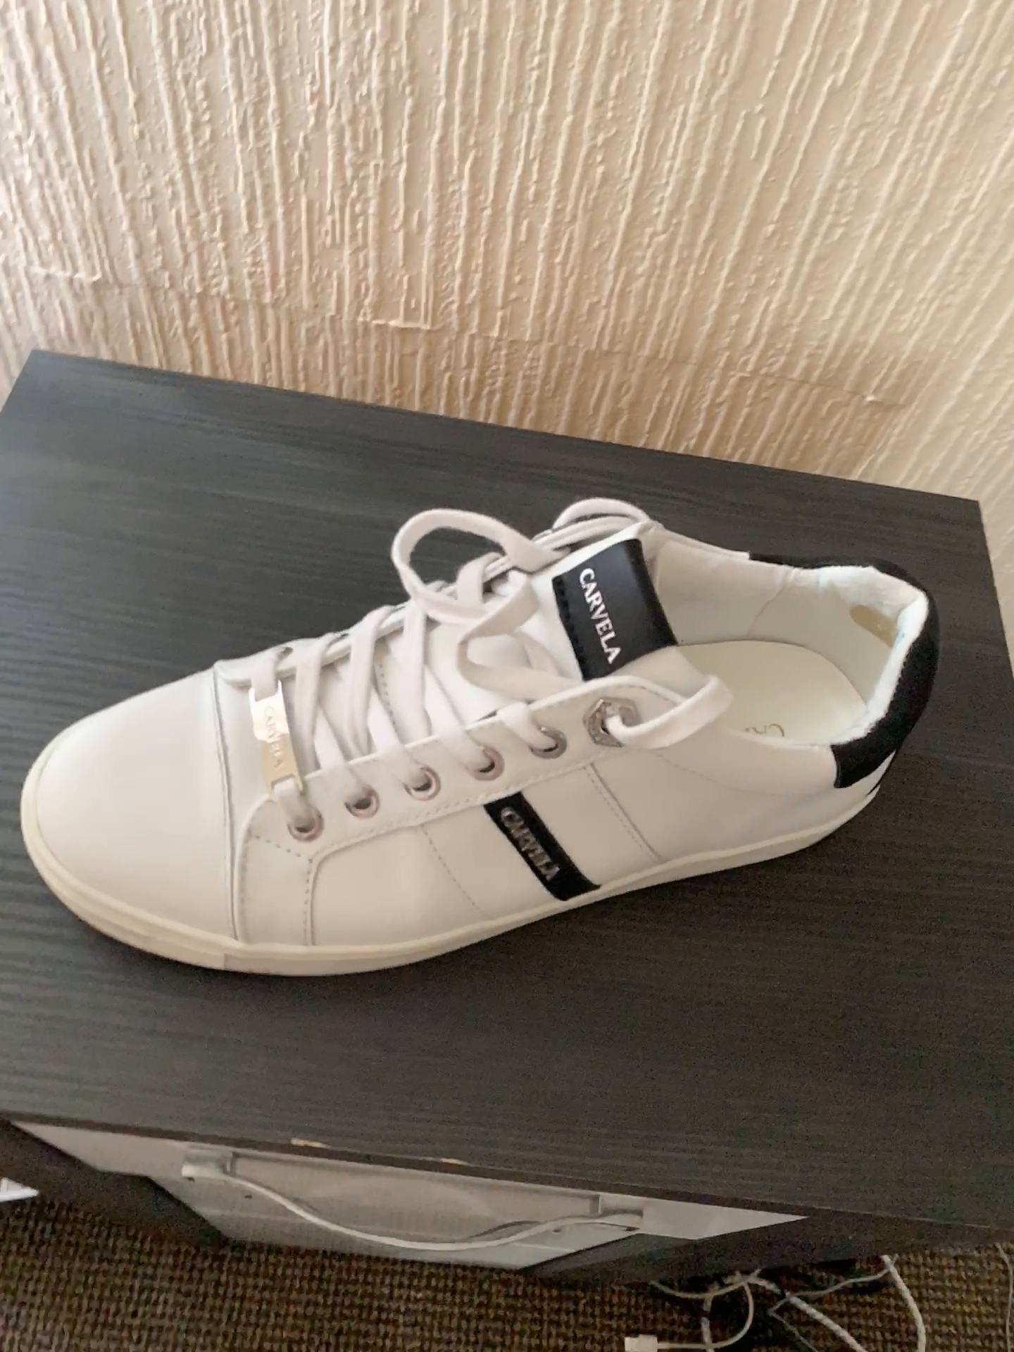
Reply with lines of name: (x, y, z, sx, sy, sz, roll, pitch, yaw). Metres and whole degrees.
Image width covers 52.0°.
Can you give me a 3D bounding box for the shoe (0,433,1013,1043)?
shoe: (-0.002, 0.012, 0.300, 0.260, 0.087, 0.104, -9, 60, -14)
